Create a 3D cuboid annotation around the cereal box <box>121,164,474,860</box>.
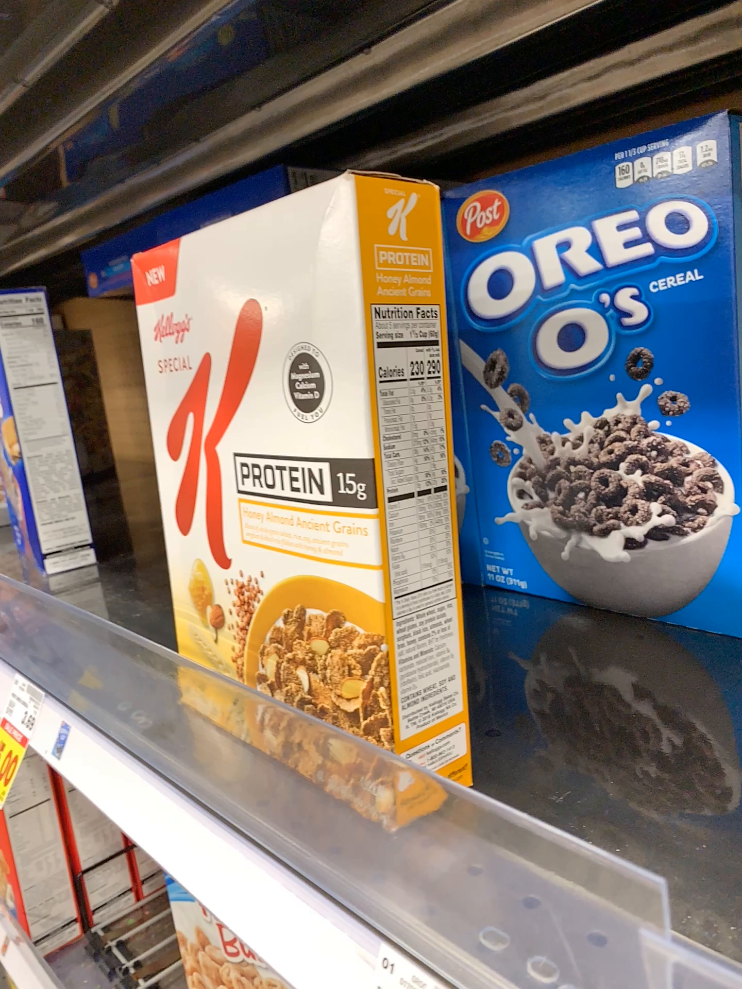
[{"bbox_3d":[-0.046,0.004,0.361,0.040,0.250,0.200,-10,10,-38],"label":"cereal box"}]
